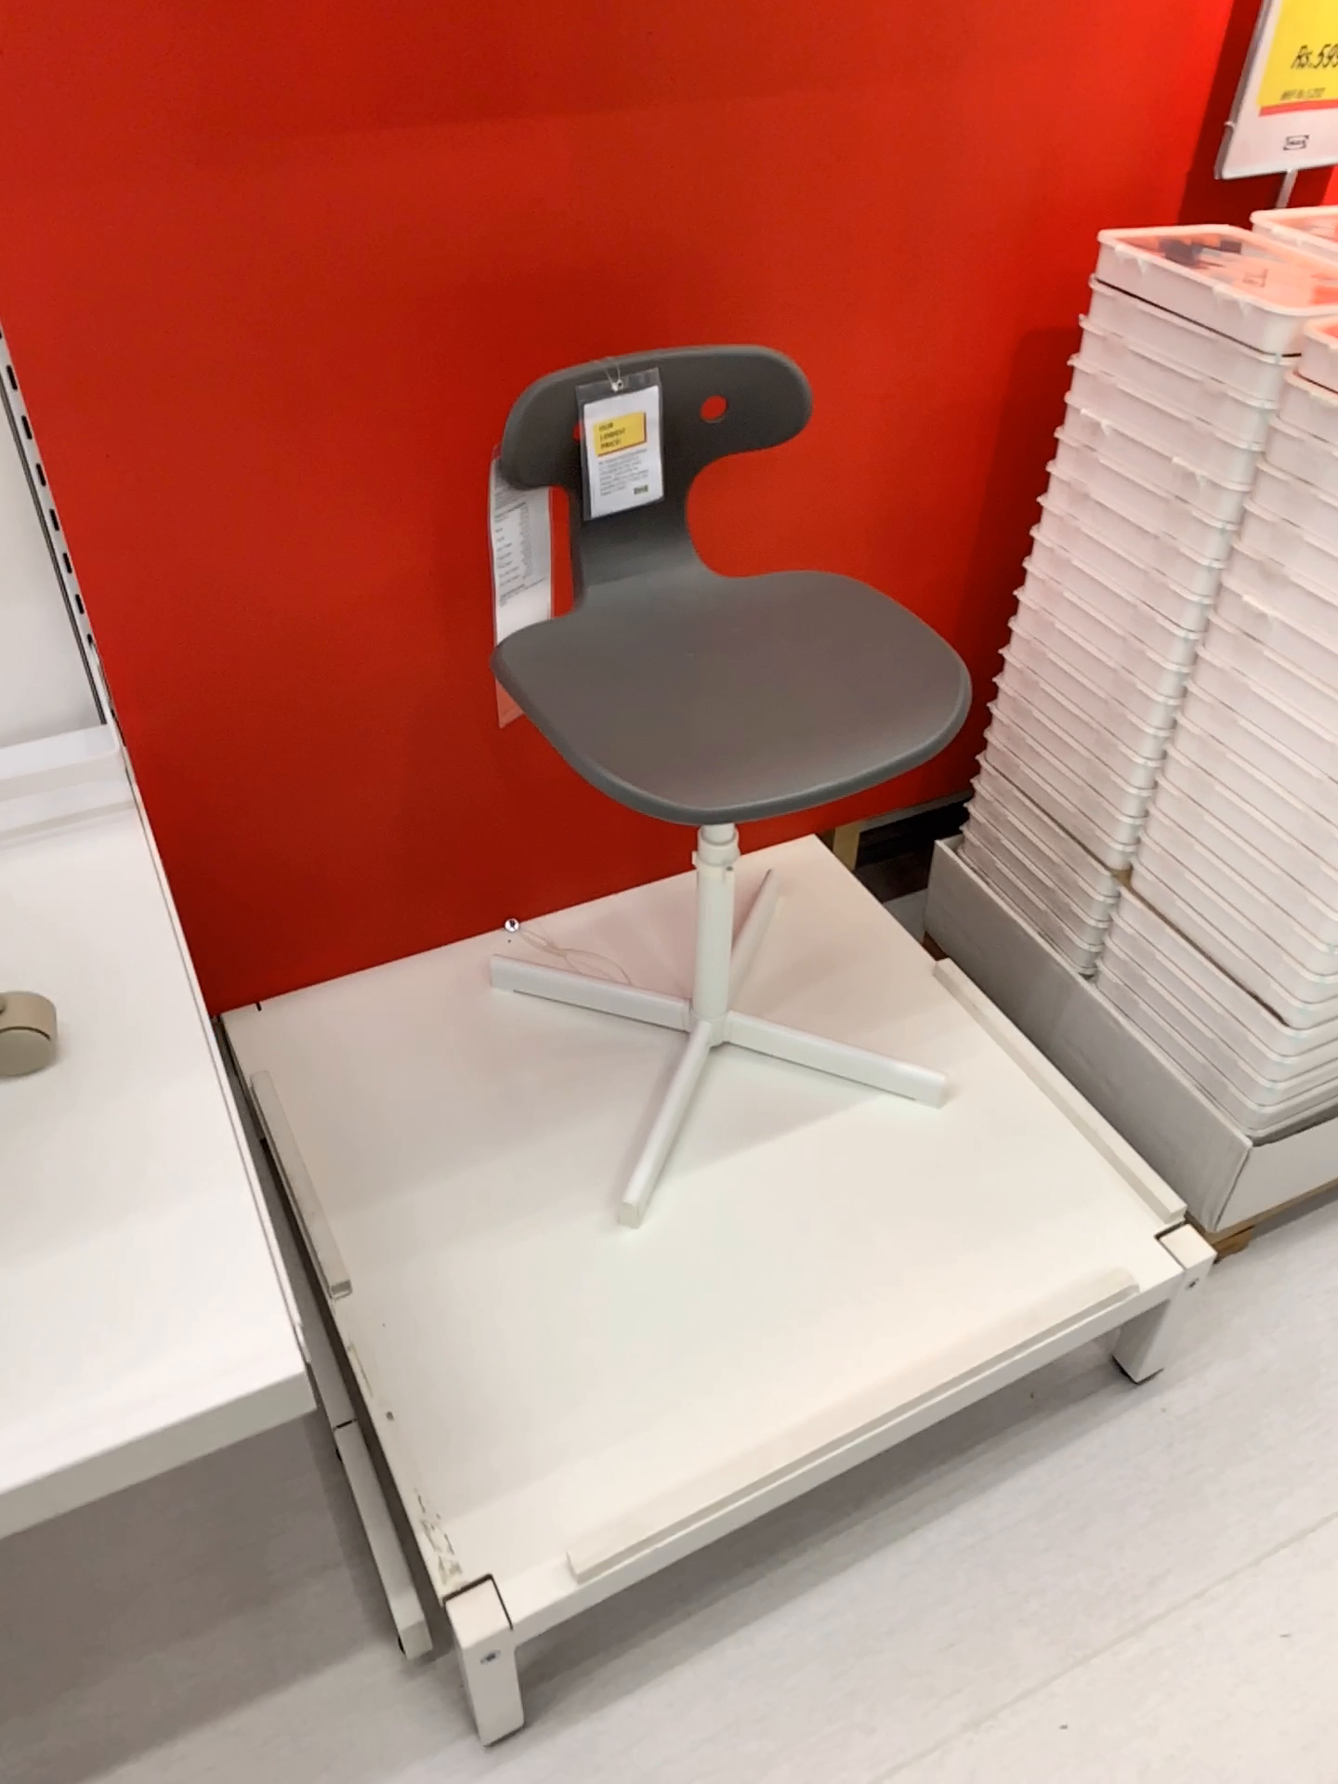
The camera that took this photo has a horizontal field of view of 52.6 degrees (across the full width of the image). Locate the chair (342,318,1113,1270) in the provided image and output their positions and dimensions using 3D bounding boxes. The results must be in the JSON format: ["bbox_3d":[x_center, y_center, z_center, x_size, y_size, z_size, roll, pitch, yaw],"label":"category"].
[{"bbox_3d":[0.023,-0.097,1.316,0.460,0.697,0.452,-18,44,-21],"label":"chair"}]
